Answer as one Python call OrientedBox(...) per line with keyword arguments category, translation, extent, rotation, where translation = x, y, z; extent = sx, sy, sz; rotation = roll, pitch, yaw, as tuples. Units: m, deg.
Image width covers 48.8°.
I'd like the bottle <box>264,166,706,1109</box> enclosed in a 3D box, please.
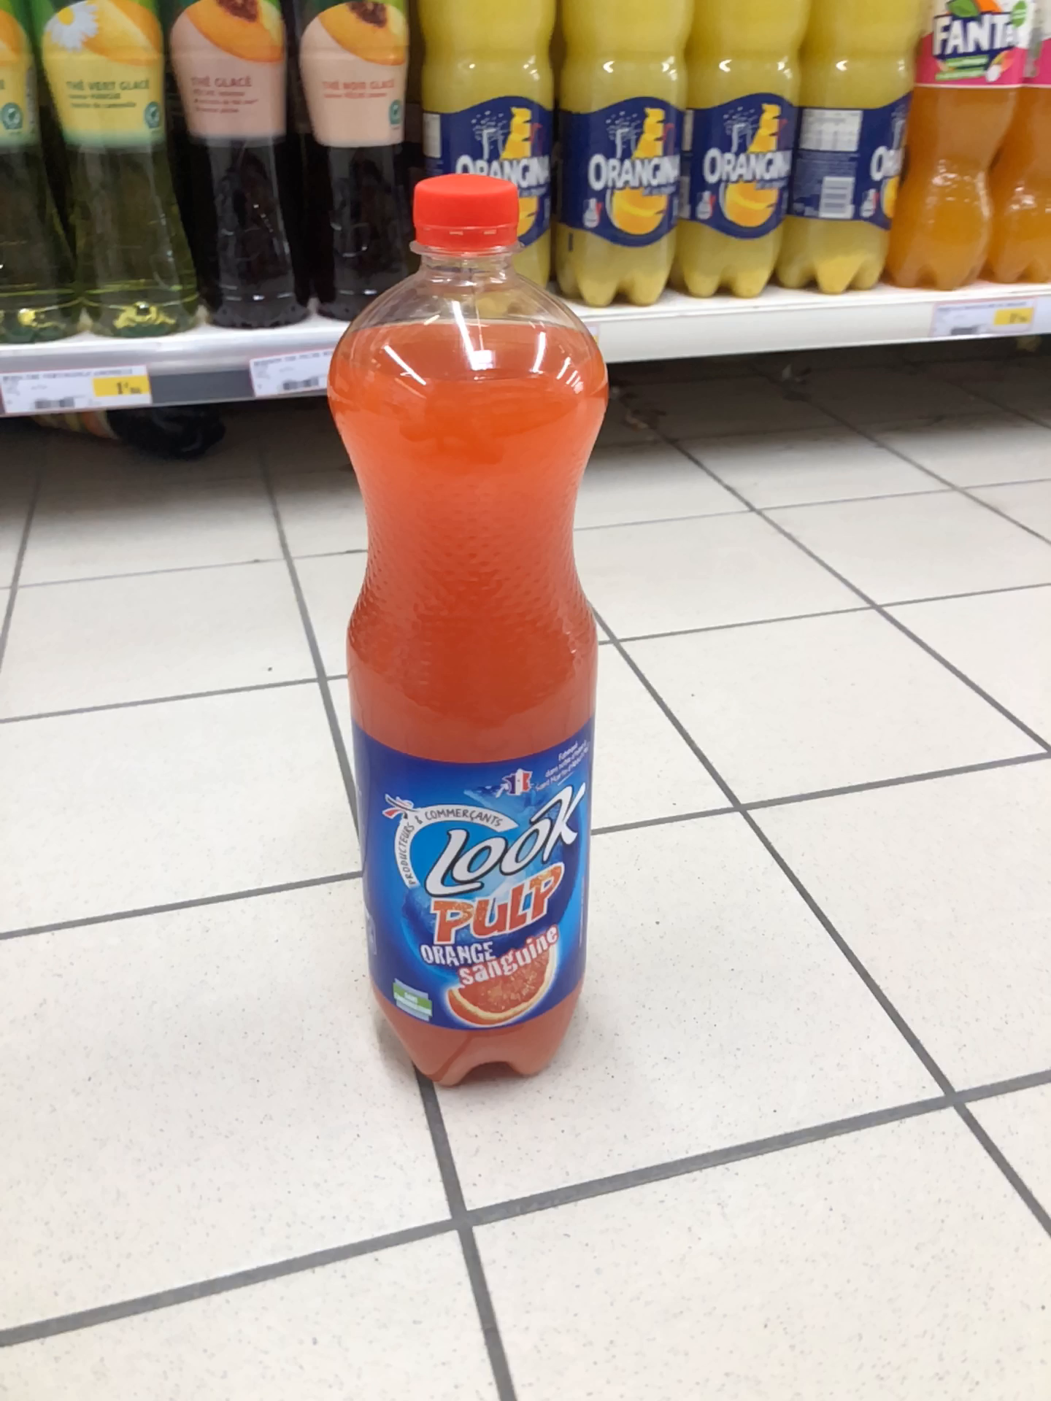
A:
OrientedBox(category="bottle", translation=(-0.018, -0.013, 0.404), extent=(0.110, 0.308, 0.100), rotation=(0, 29, 0))
